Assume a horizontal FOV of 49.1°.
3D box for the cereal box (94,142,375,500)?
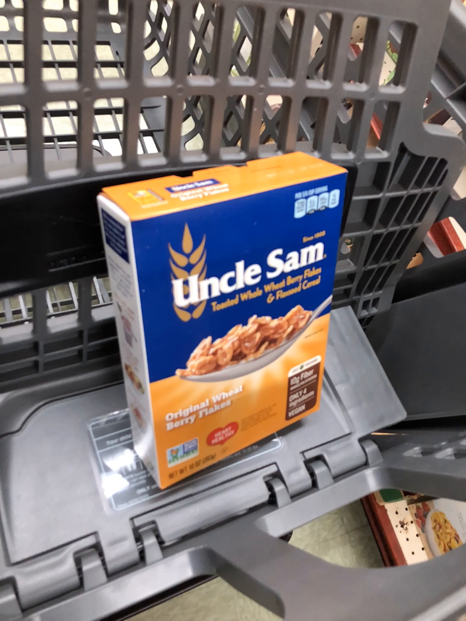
[{"bbox_3d":[0.006,0.008,0.350,0.160,0.210,0.050,-19,37,-27],"label":"cereal box"}]
